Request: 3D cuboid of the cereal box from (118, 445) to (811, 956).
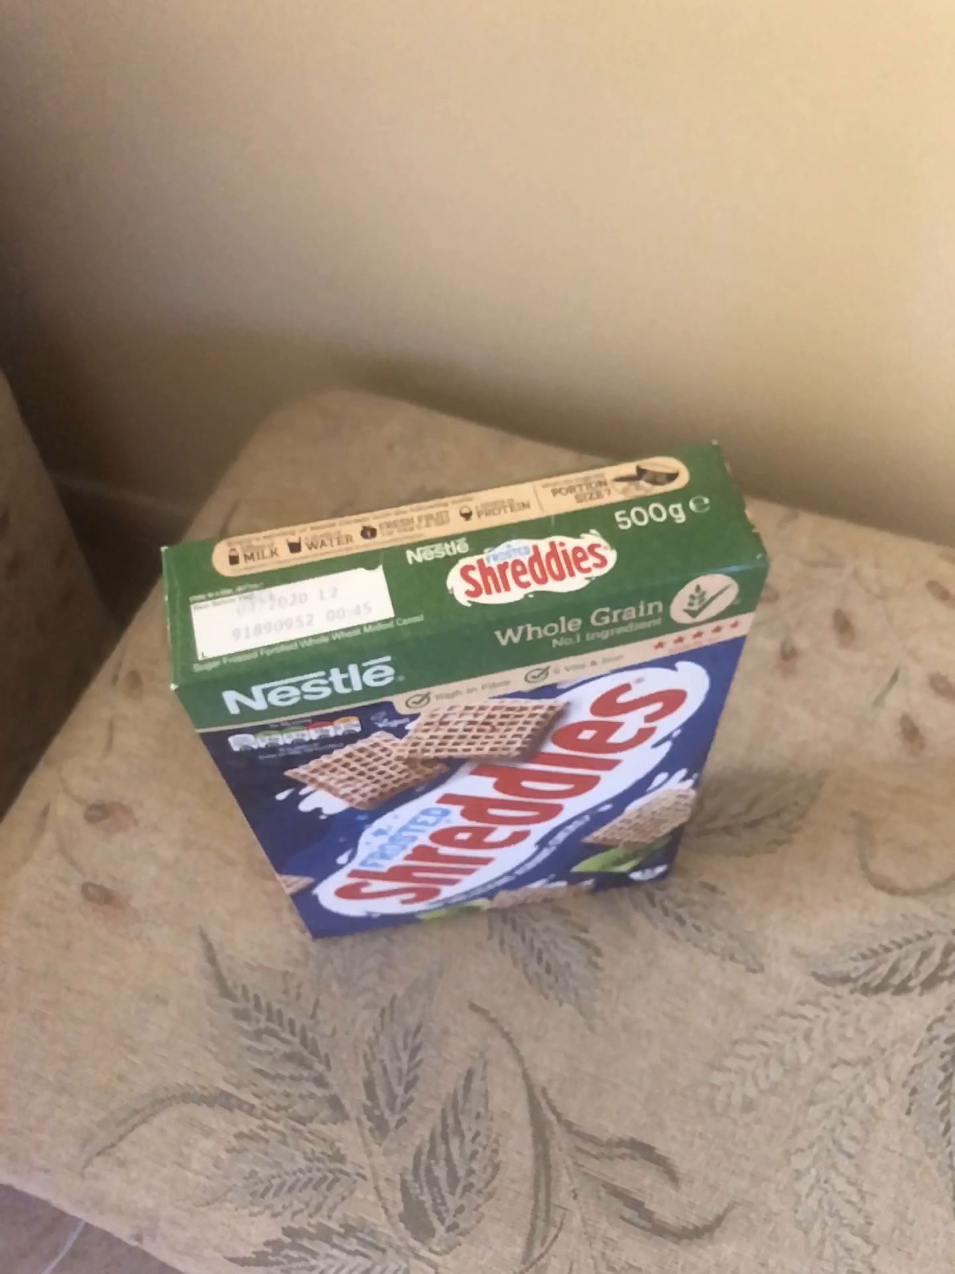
[{"bbox_3d":[-0.004,0.047,0.428,0.200,0.259,0.060,-9,59,-4],"label":"cereal box"}]
